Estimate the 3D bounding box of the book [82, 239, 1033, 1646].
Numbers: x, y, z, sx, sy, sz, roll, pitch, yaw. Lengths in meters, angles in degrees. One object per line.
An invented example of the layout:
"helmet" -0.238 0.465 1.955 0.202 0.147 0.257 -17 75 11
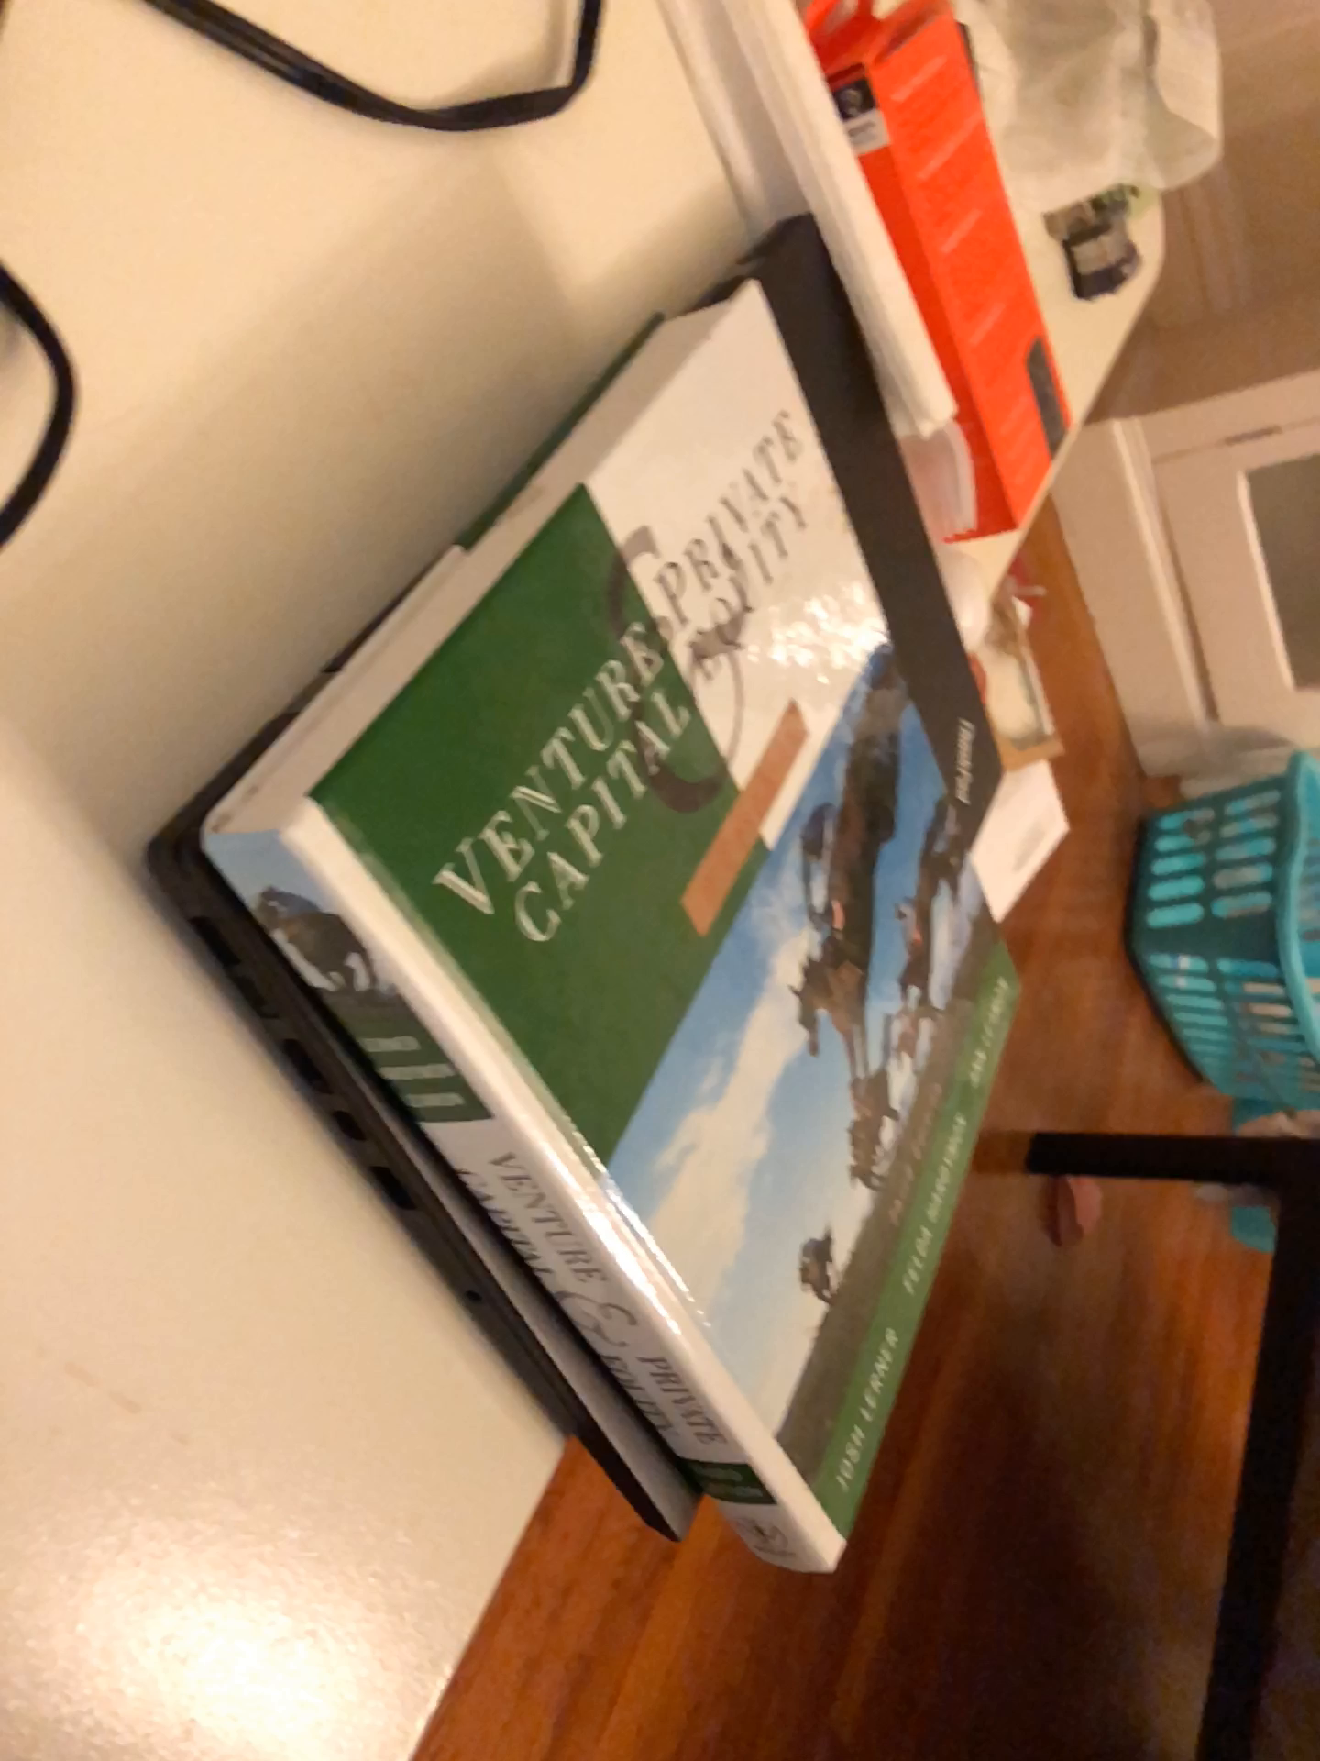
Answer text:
"book" 0.018 0.017 0.369 0.270 0.030 0.221 60 41 -32
